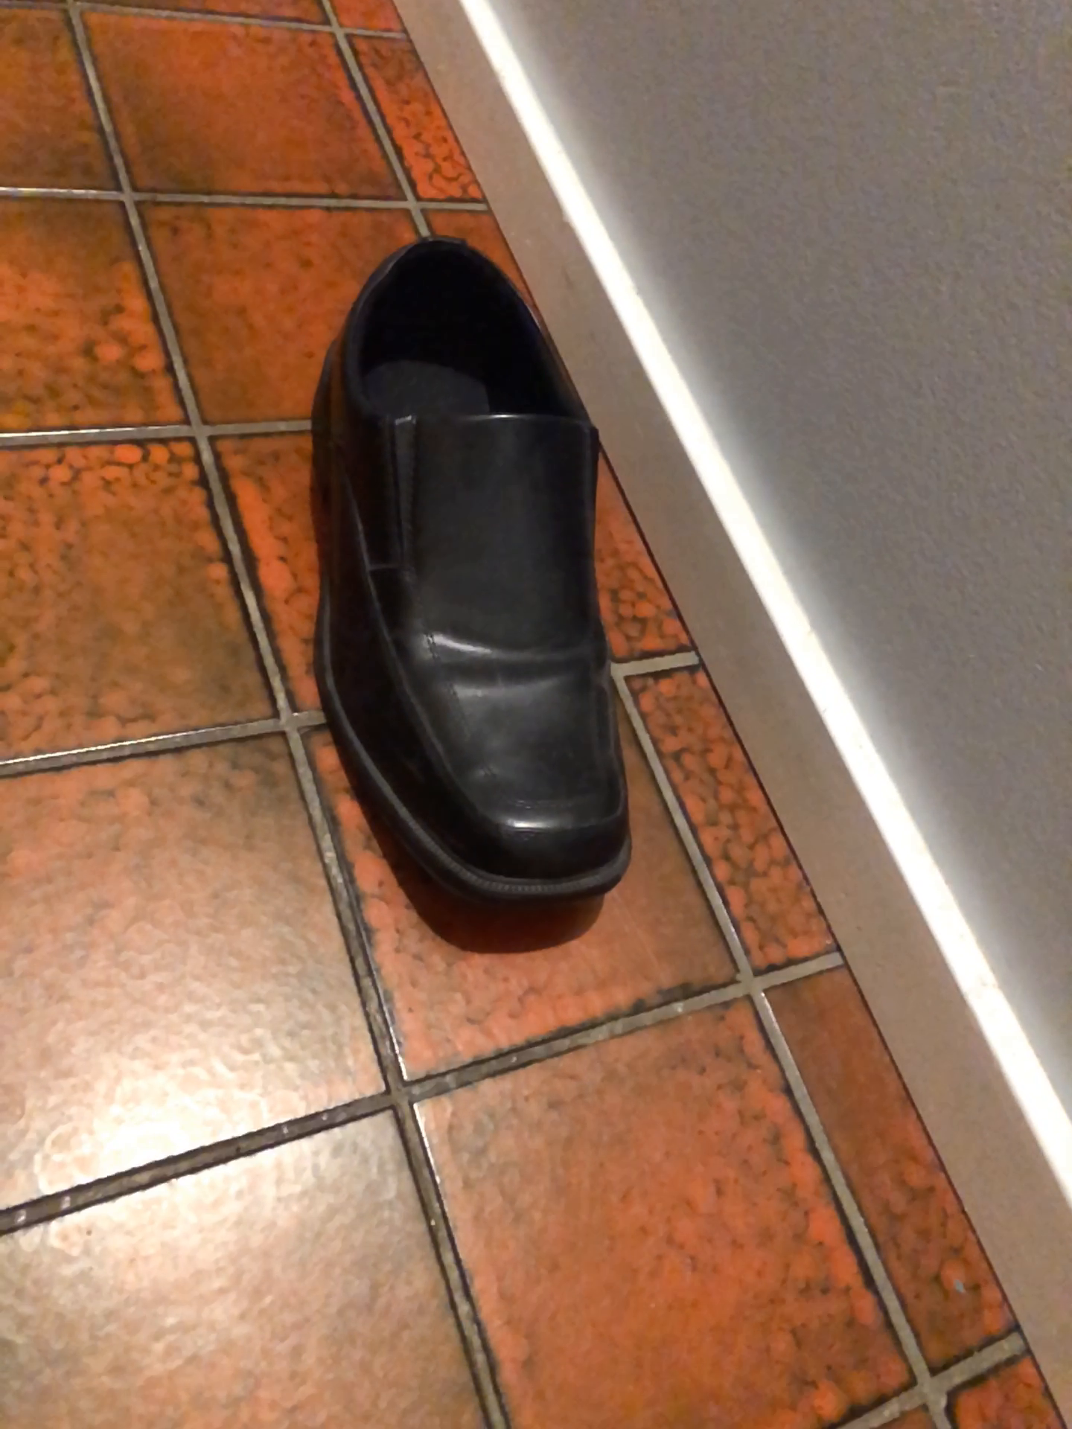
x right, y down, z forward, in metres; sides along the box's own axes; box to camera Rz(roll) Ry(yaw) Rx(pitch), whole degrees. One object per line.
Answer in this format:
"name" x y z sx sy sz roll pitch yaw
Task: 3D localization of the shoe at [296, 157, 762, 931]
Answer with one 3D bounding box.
"shoe" -0.021 -0.075 0.481 0.120 0.100 0.300 1 60 -20
